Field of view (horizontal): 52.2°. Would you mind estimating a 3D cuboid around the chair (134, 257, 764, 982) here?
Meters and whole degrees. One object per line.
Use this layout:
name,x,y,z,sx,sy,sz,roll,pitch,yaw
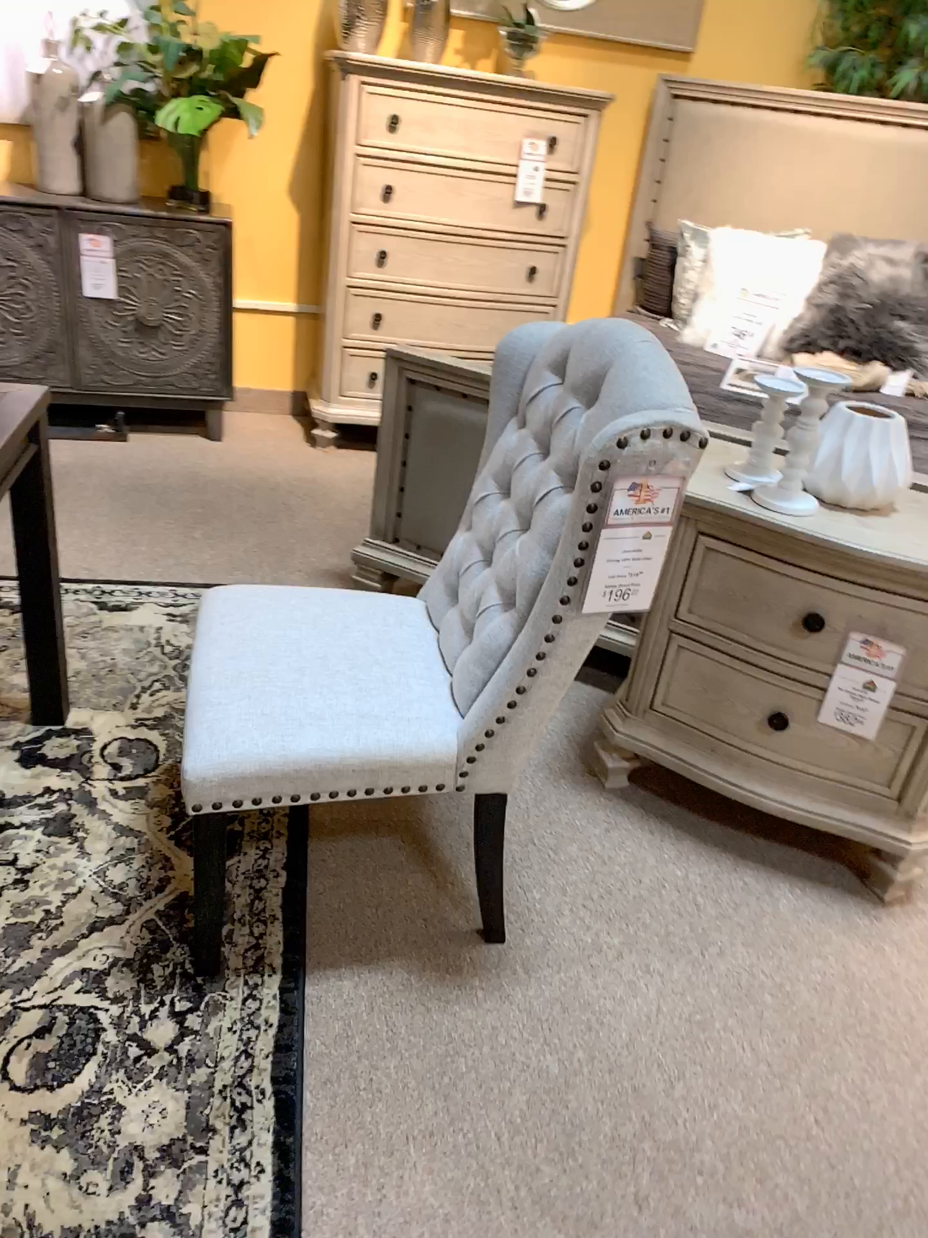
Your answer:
chair,-0.102,-0.003,1.571,0.741,0.973,0.590,1,29,-13
